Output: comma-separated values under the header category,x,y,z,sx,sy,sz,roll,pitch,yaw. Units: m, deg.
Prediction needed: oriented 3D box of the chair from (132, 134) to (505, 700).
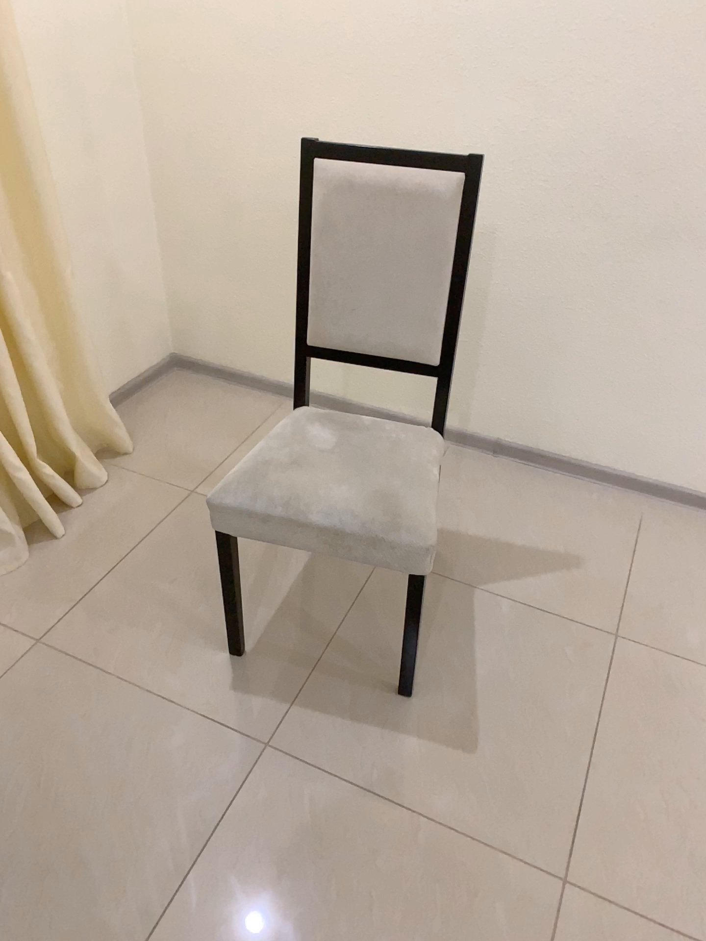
category,x,y,z,sx,sy,sz,roll,pitch,yaw
chair,-0.018,-0.101,1.471,0.480,0.964,0.513,9,36,13
